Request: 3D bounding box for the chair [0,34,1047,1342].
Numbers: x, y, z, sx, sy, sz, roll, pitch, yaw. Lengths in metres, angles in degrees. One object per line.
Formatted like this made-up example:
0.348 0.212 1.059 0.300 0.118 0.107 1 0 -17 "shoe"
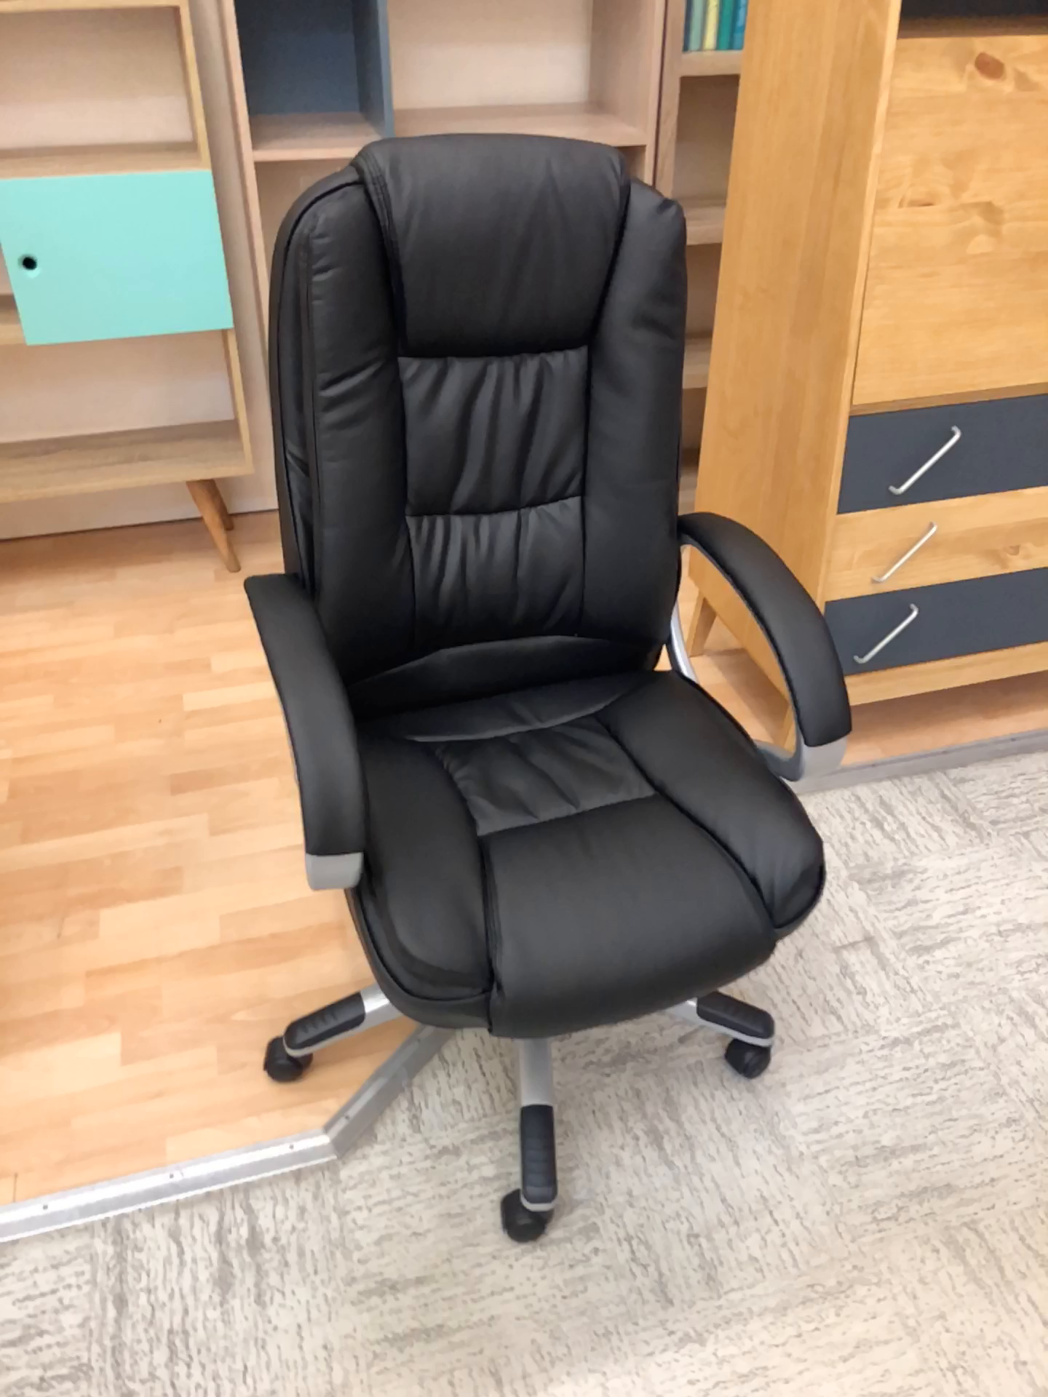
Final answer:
-0.061 -0.062 1.220 0.762 1.063 0.682 -13 36 -19 "chair"
